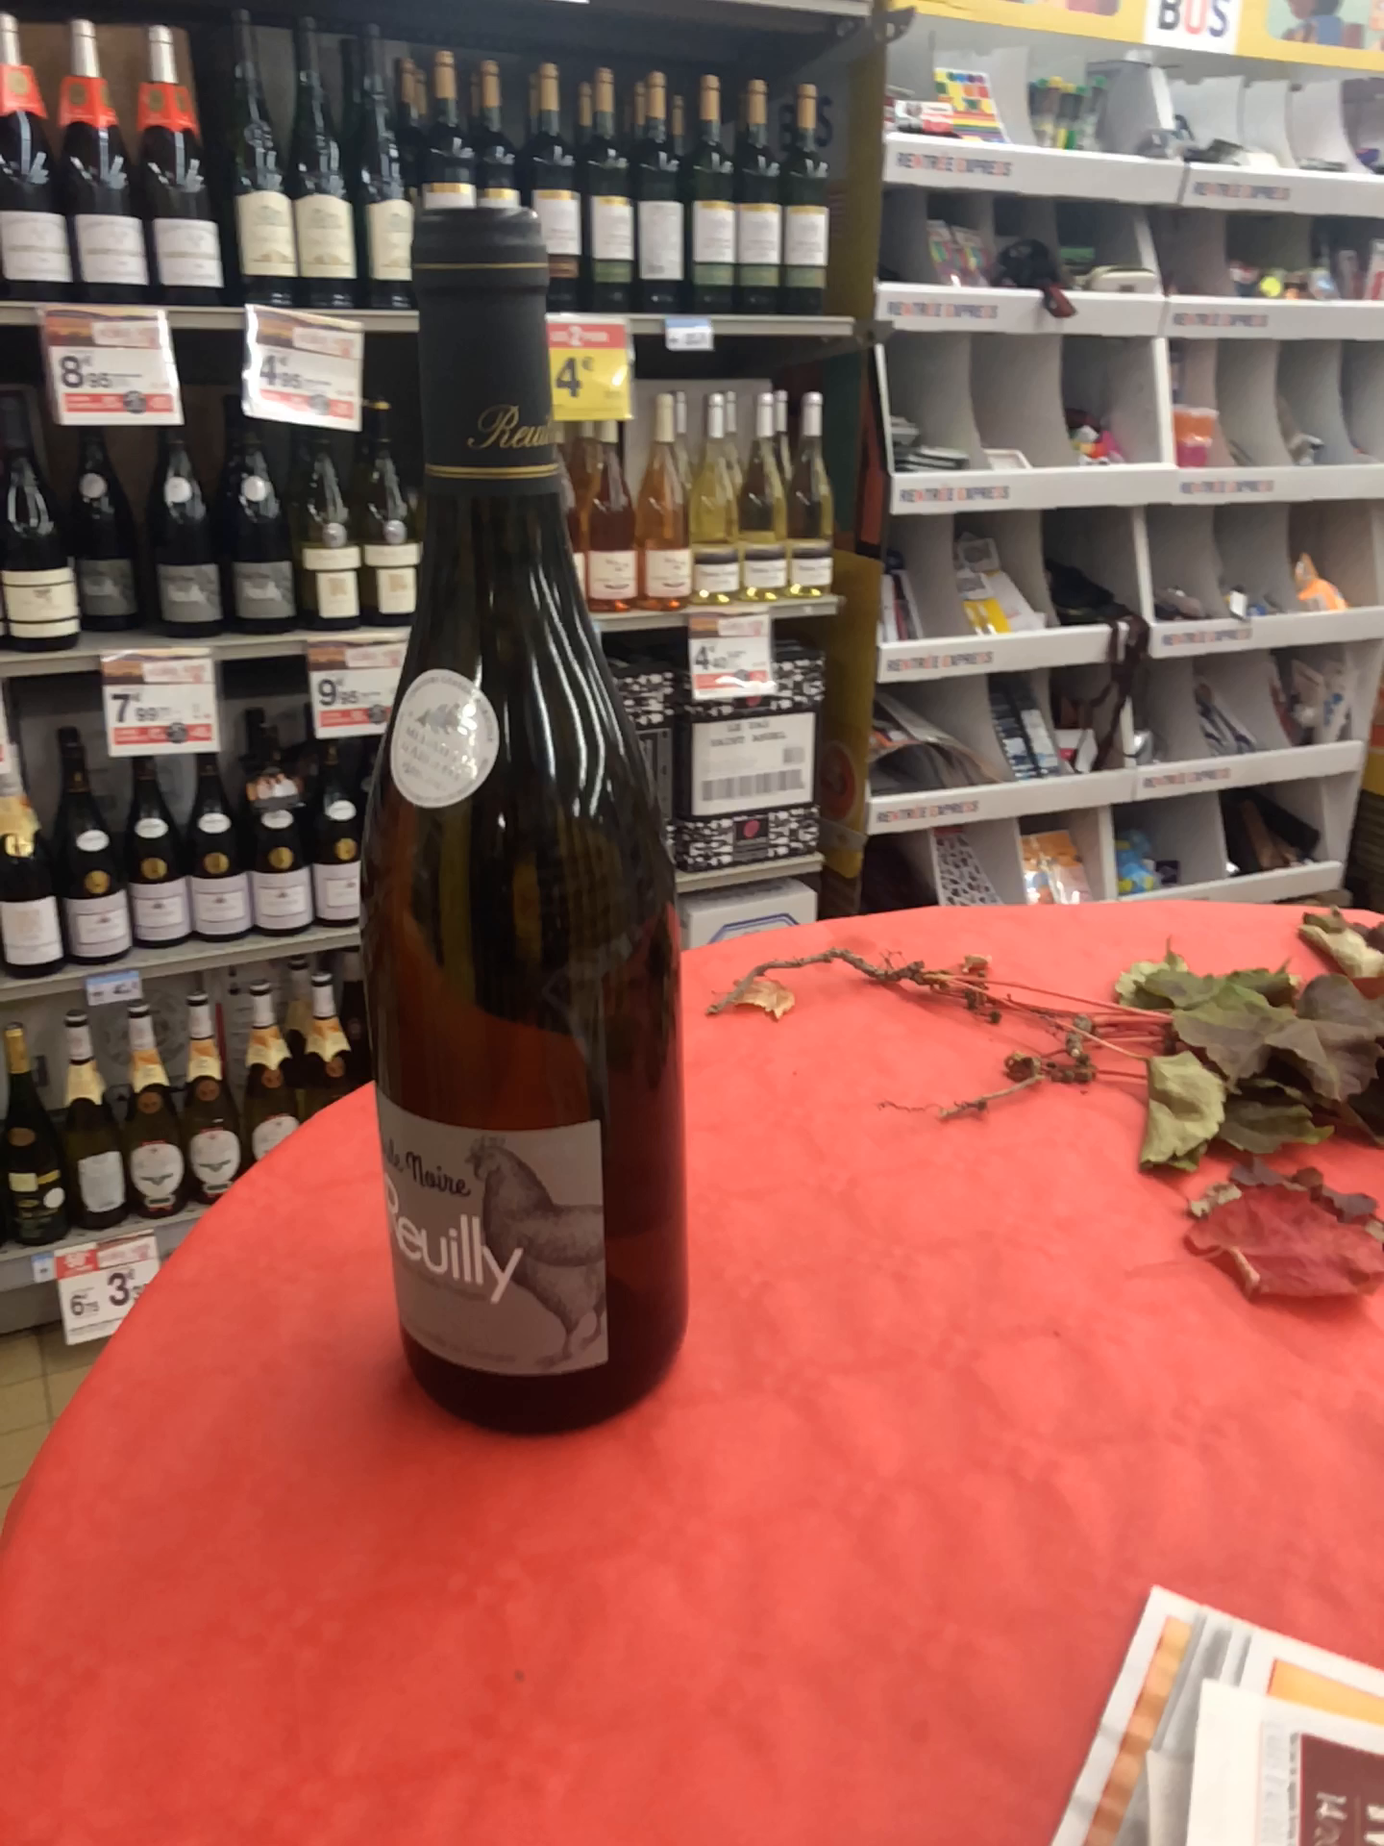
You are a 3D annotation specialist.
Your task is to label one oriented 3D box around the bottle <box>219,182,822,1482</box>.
[{"bbox_3d":[-0.035,-0.020,0.368,0.090,0.279,0.091,1,21,0],"label":"bottle"}]
